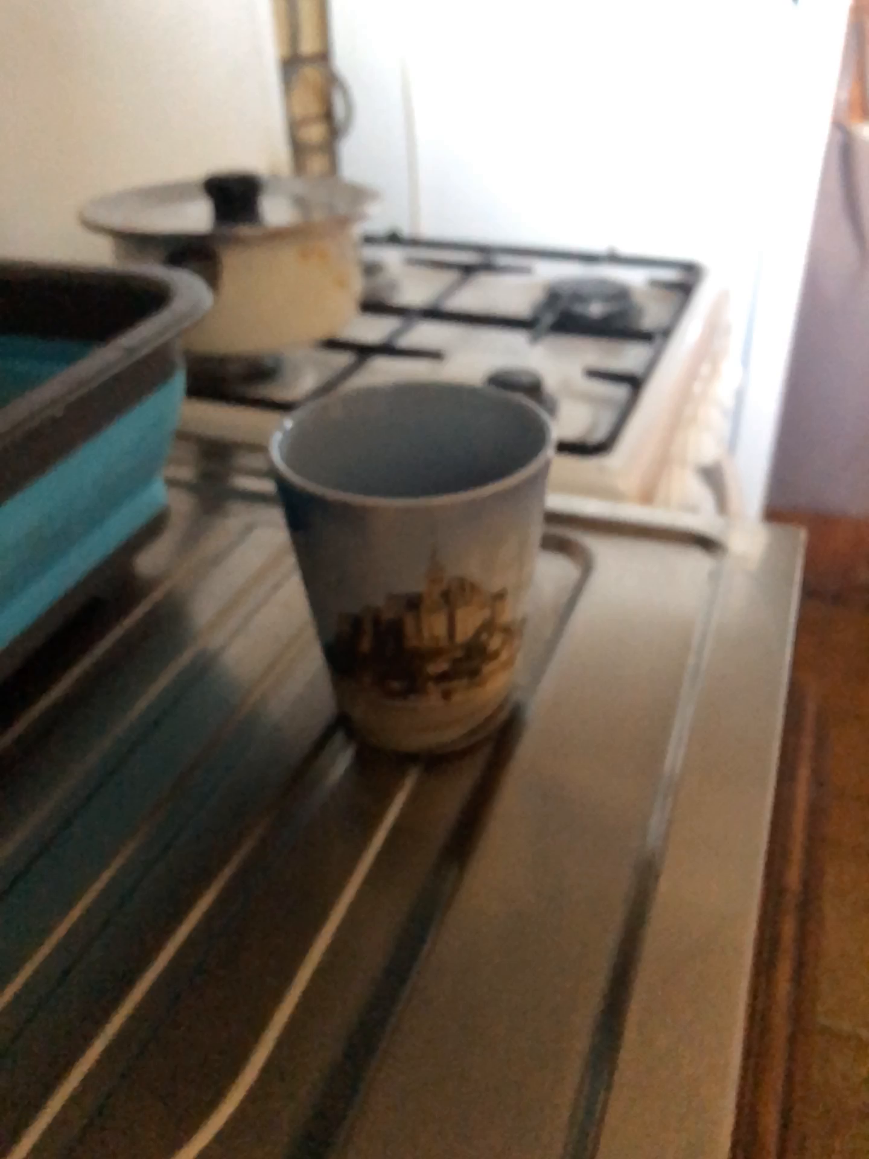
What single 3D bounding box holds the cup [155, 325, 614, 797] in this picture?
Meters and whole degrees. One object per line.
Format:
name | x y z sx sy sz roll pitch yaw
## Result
cup | -0.009 -0.017 0.349 0.100 0.099 0.131 14 35 24
